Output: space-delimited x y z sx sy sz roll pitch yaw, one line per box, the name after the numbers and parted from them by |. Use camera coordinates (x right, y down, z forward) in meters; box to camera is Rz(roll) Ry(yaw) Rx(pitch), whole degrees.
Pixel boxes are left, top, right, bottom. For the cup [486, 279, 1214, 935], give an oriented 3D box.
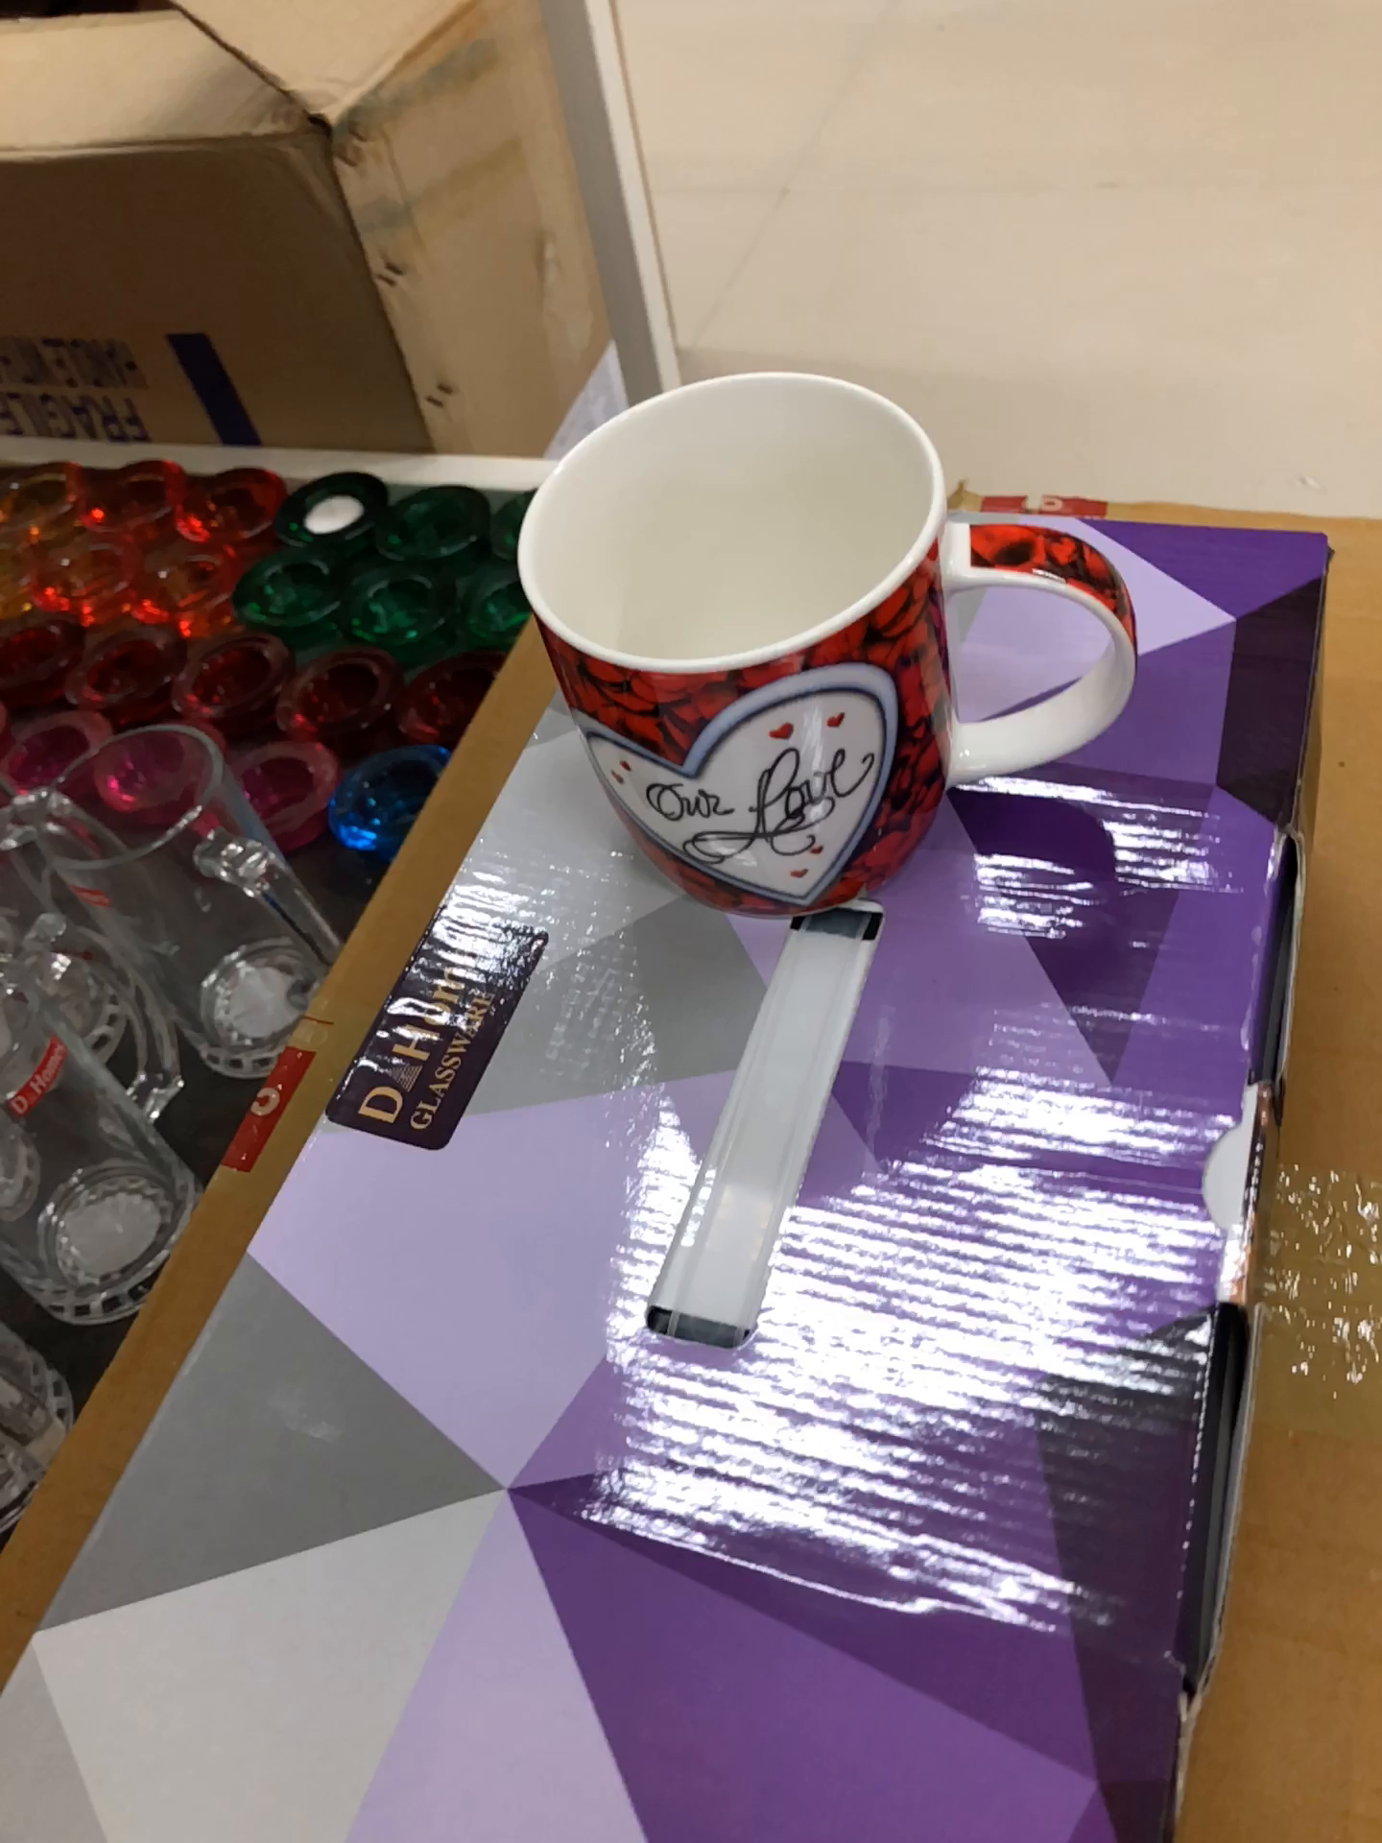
0.039 -0.065 0.339 0.130 0.099 0.091 -2 50 12 | cup
